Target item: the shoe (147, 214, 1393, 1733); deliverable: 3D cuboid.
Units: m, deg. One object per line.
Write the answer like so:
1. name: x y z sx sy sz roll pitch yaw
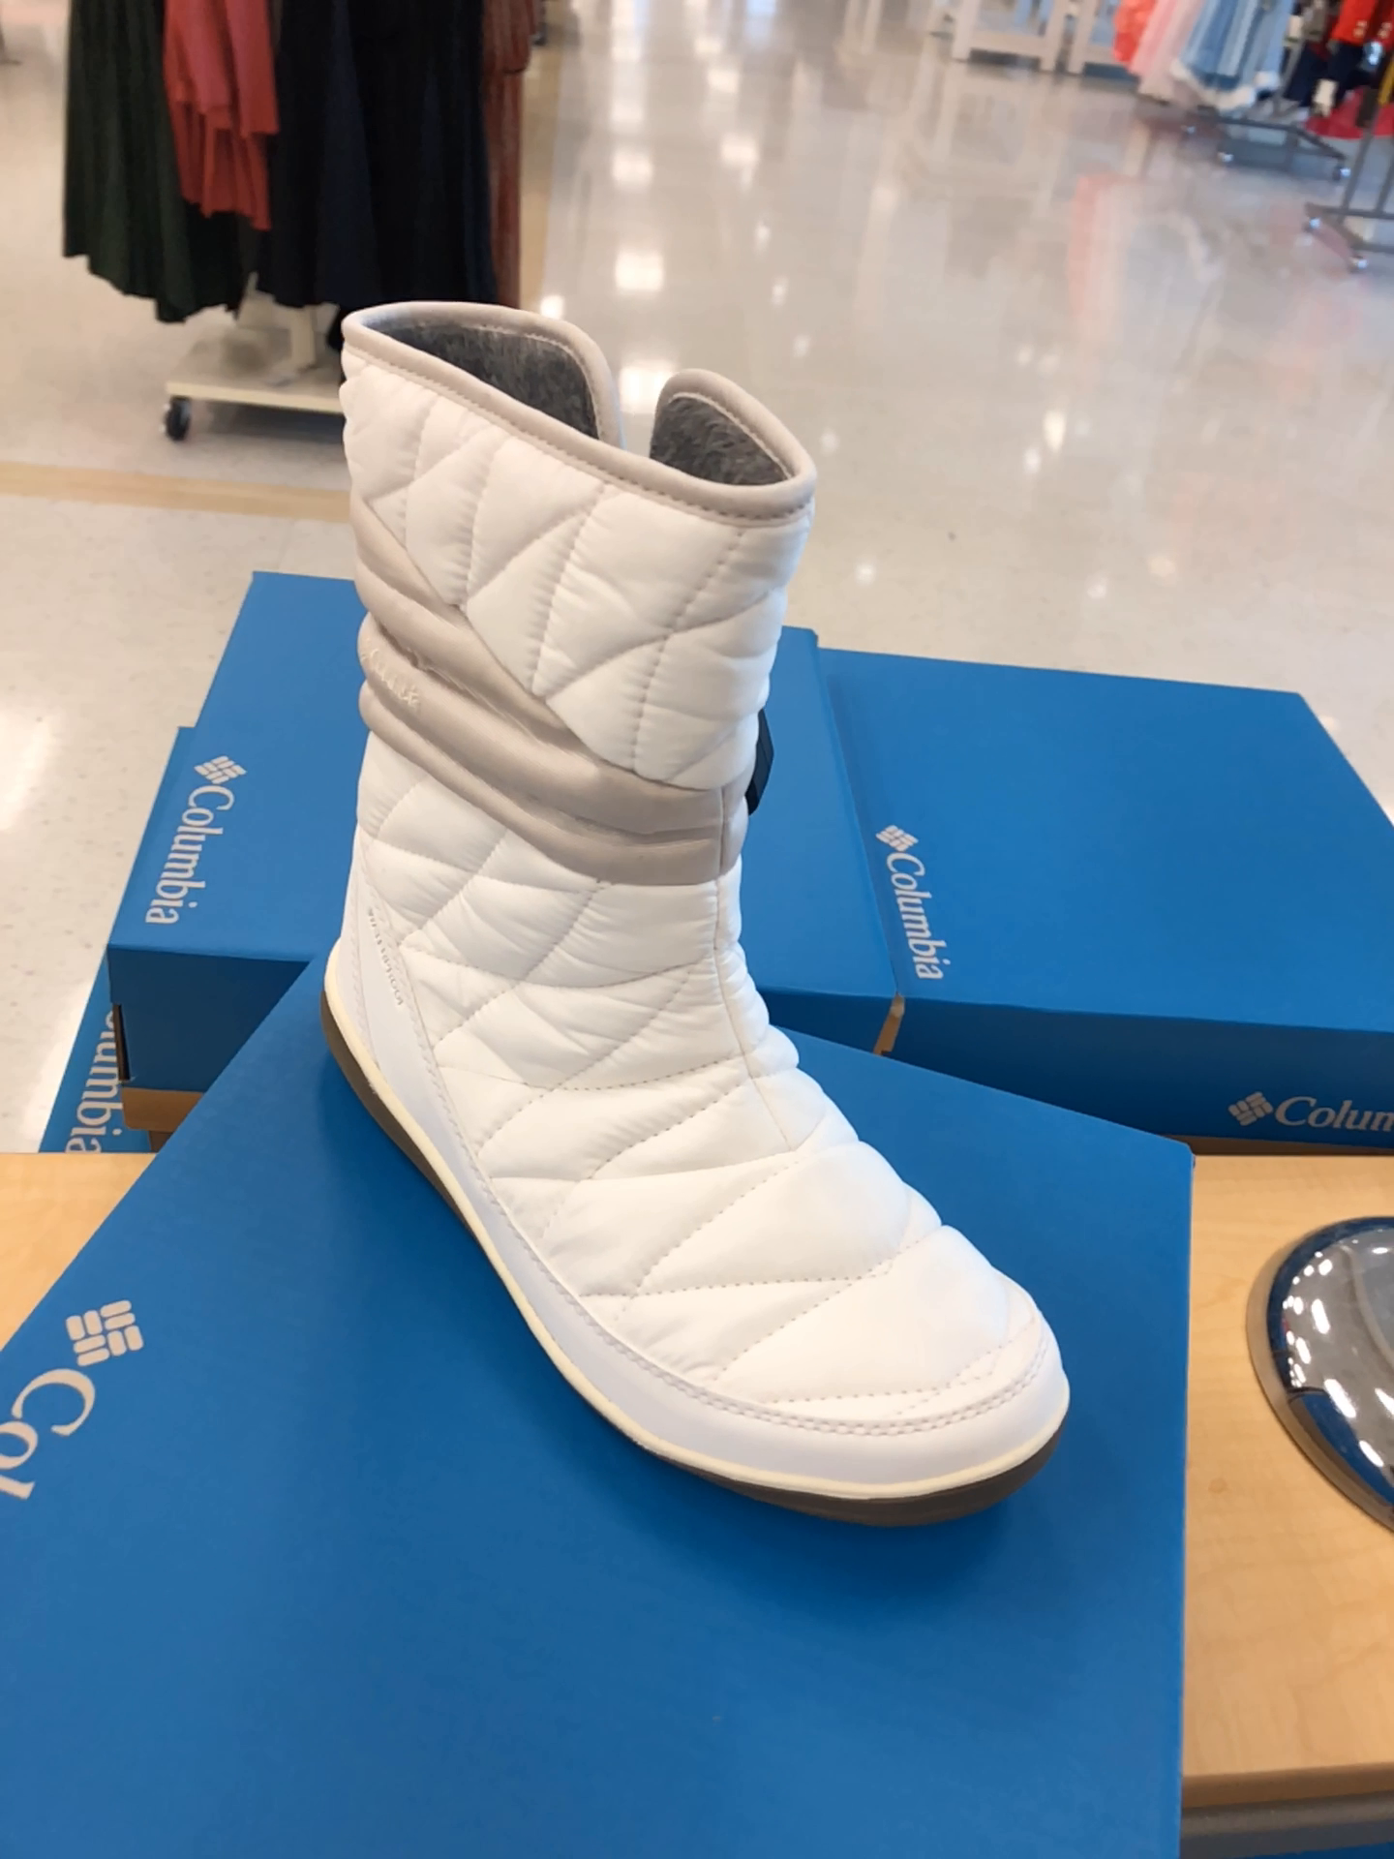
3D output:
1. shoe: -0.002 -0.004 0.356 0.105 0.228 0.261 -27 50 -37
